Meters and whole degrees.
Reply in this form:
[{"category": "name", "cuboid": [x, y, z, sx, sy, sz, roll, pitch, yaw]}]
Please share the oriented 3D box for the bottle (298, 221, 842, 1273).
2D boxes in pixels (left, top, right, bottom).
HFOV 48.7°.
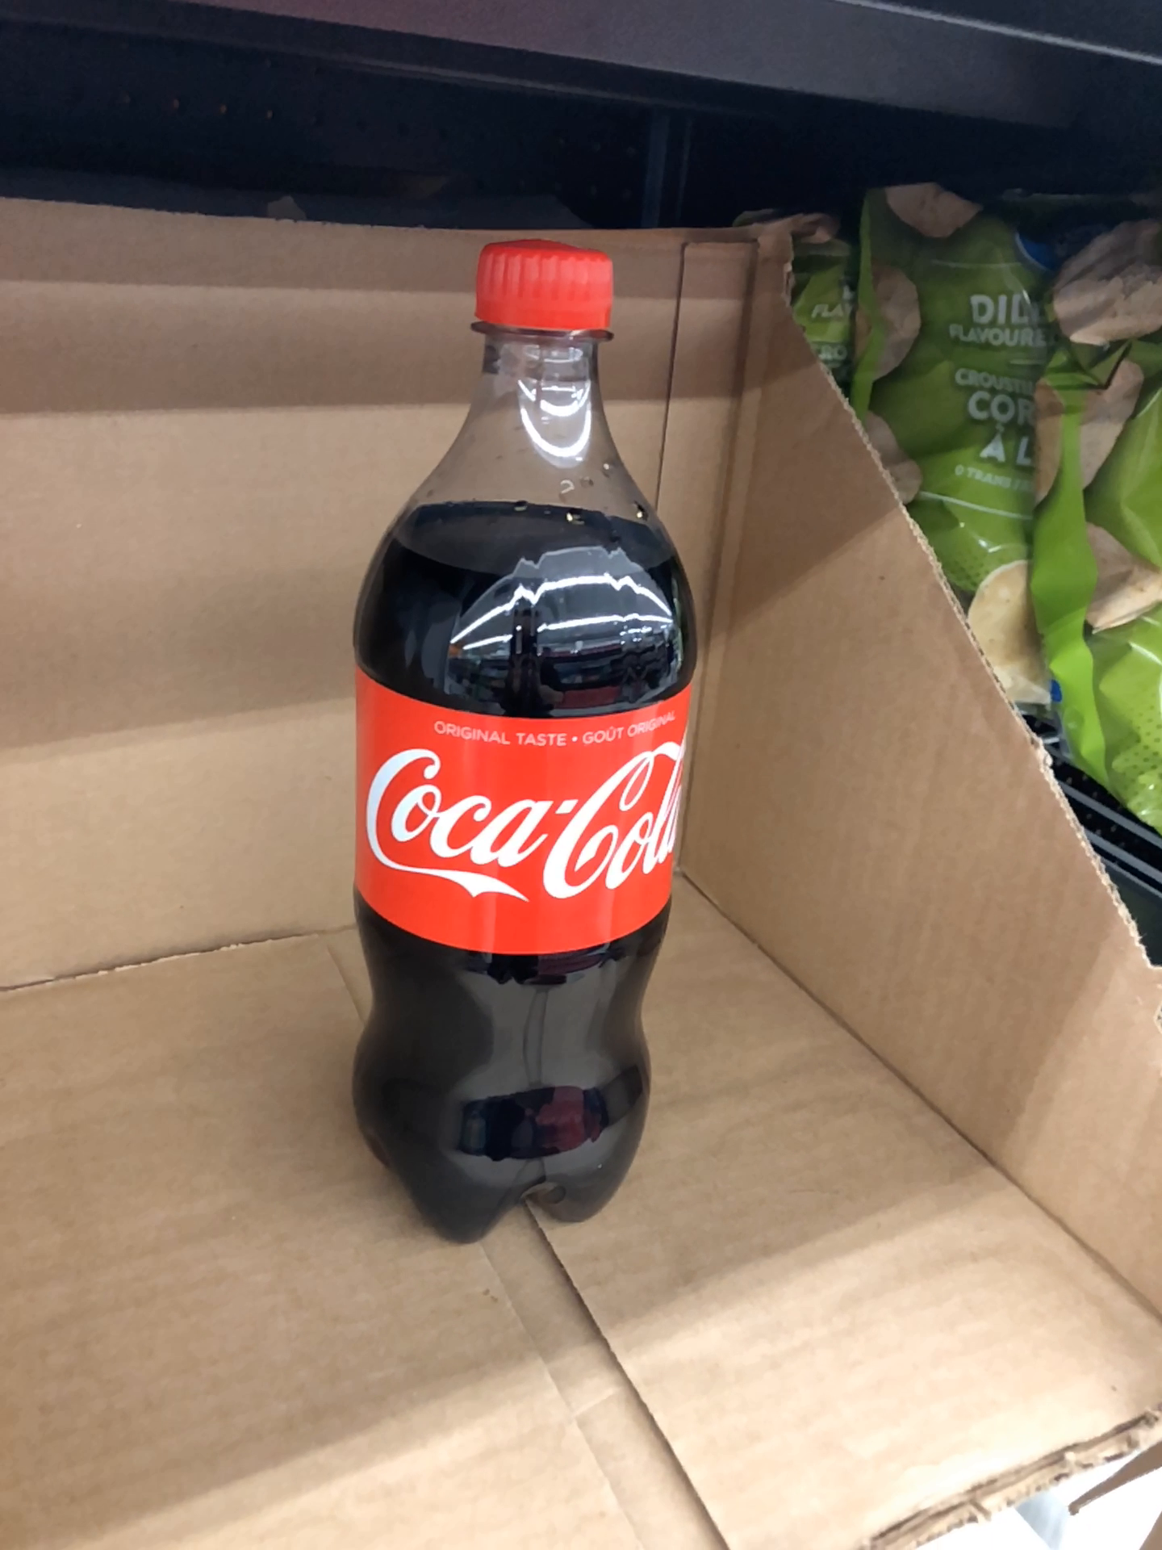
[{"category": "bottle", "cuboid": [-0.019, -0.004, 0.338, 0.100, 0.248, 0.091, -3, 26, -18]}]
